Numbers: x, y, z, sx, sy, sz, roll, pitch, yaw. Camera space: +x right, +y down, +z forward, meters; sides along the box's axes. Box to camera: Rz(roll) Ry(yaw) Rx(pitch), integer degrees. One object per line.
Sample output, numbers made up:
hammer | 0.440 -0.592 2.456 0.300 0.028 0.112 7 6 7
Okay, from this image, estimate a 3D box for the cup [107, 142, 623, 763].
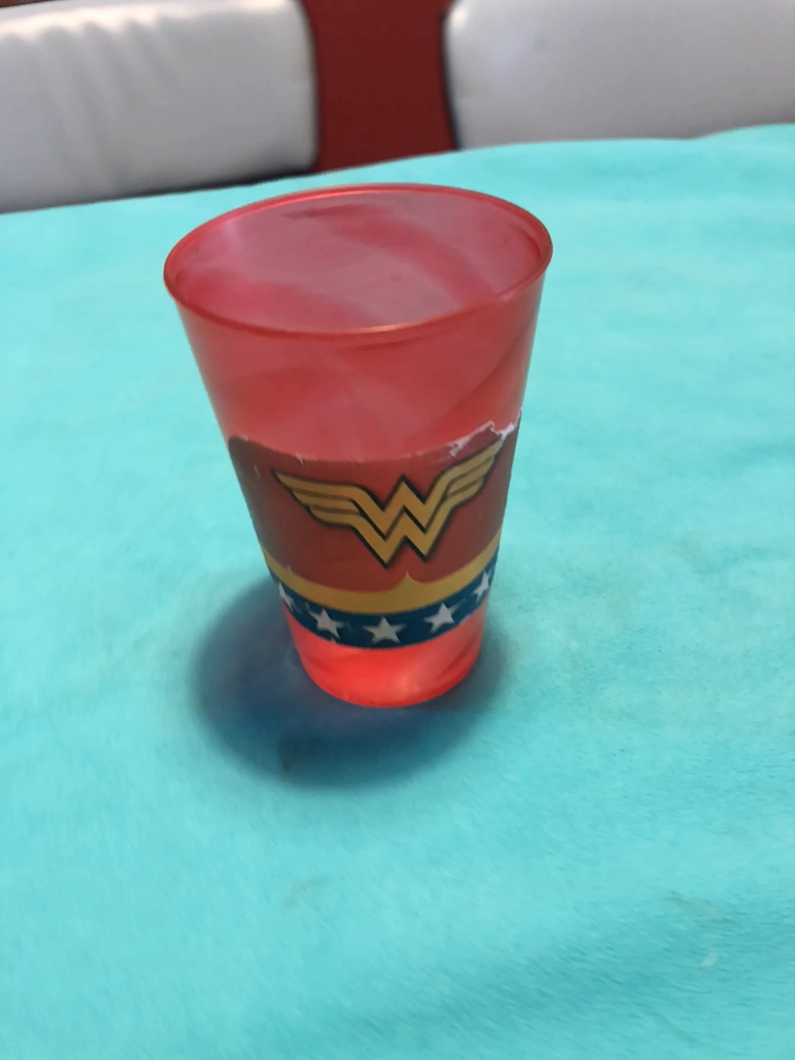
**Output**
cup | -0.010 -0.021 0.222 0.090 0.109 0.091 -3 39 2
